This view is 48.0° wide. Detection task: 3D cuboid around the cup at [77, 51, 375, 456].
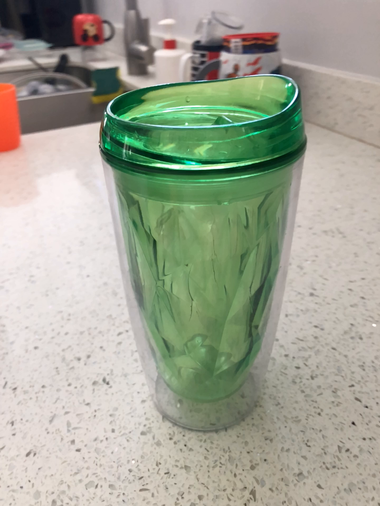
[{"bbox_3d":[0.007,-0.001,0.206,0.090,0.159,0.090,-2,32,1],"label":"cup"}]
